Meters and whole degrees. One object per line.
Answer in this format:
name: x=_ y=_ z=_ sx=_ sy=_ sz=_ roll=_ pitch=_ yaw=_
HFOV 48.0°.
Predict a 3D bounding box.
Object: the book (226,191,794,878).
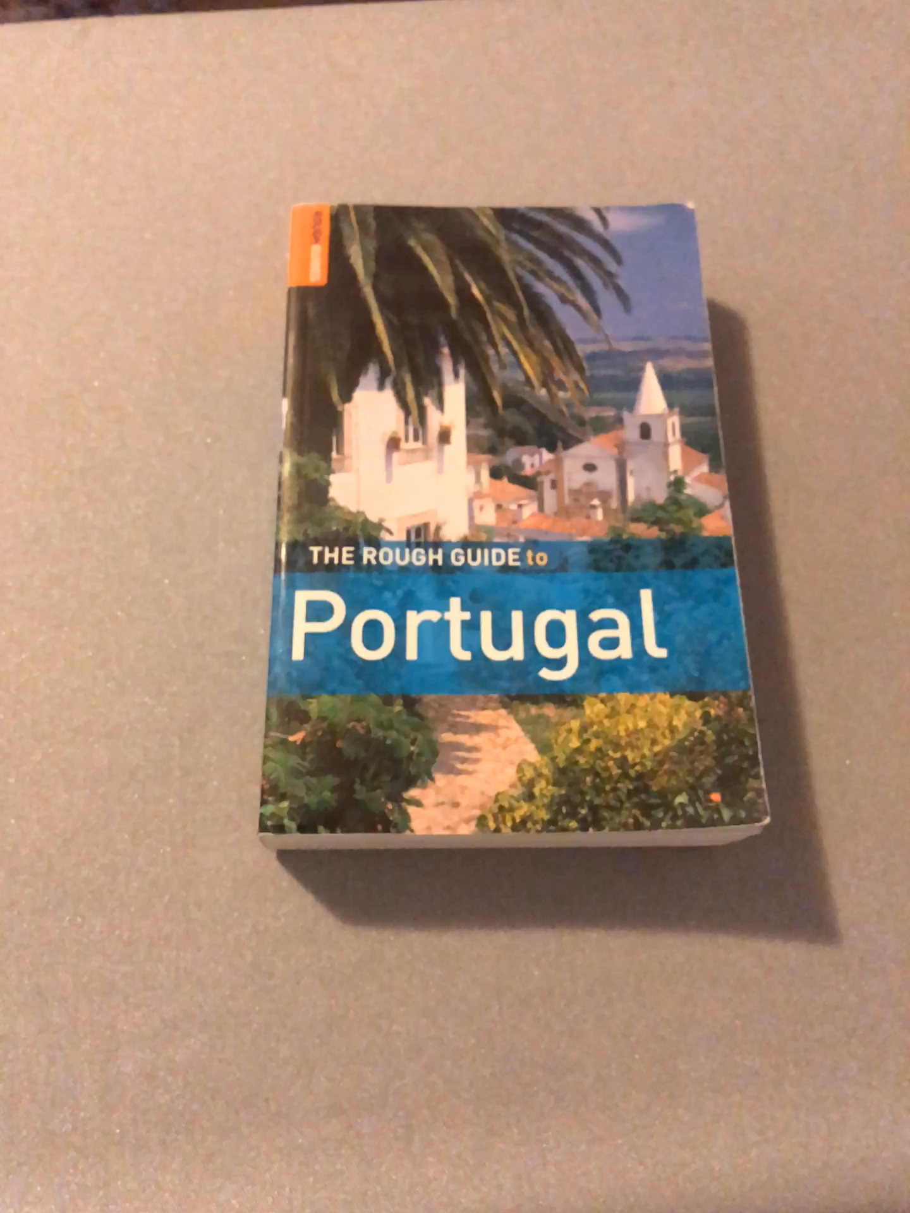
book: x=0.012 y=-0.027 z=0.304 sx=0.139 sy=0.040 sz=0.204 roll=0 pitch=69 yaw=-2
